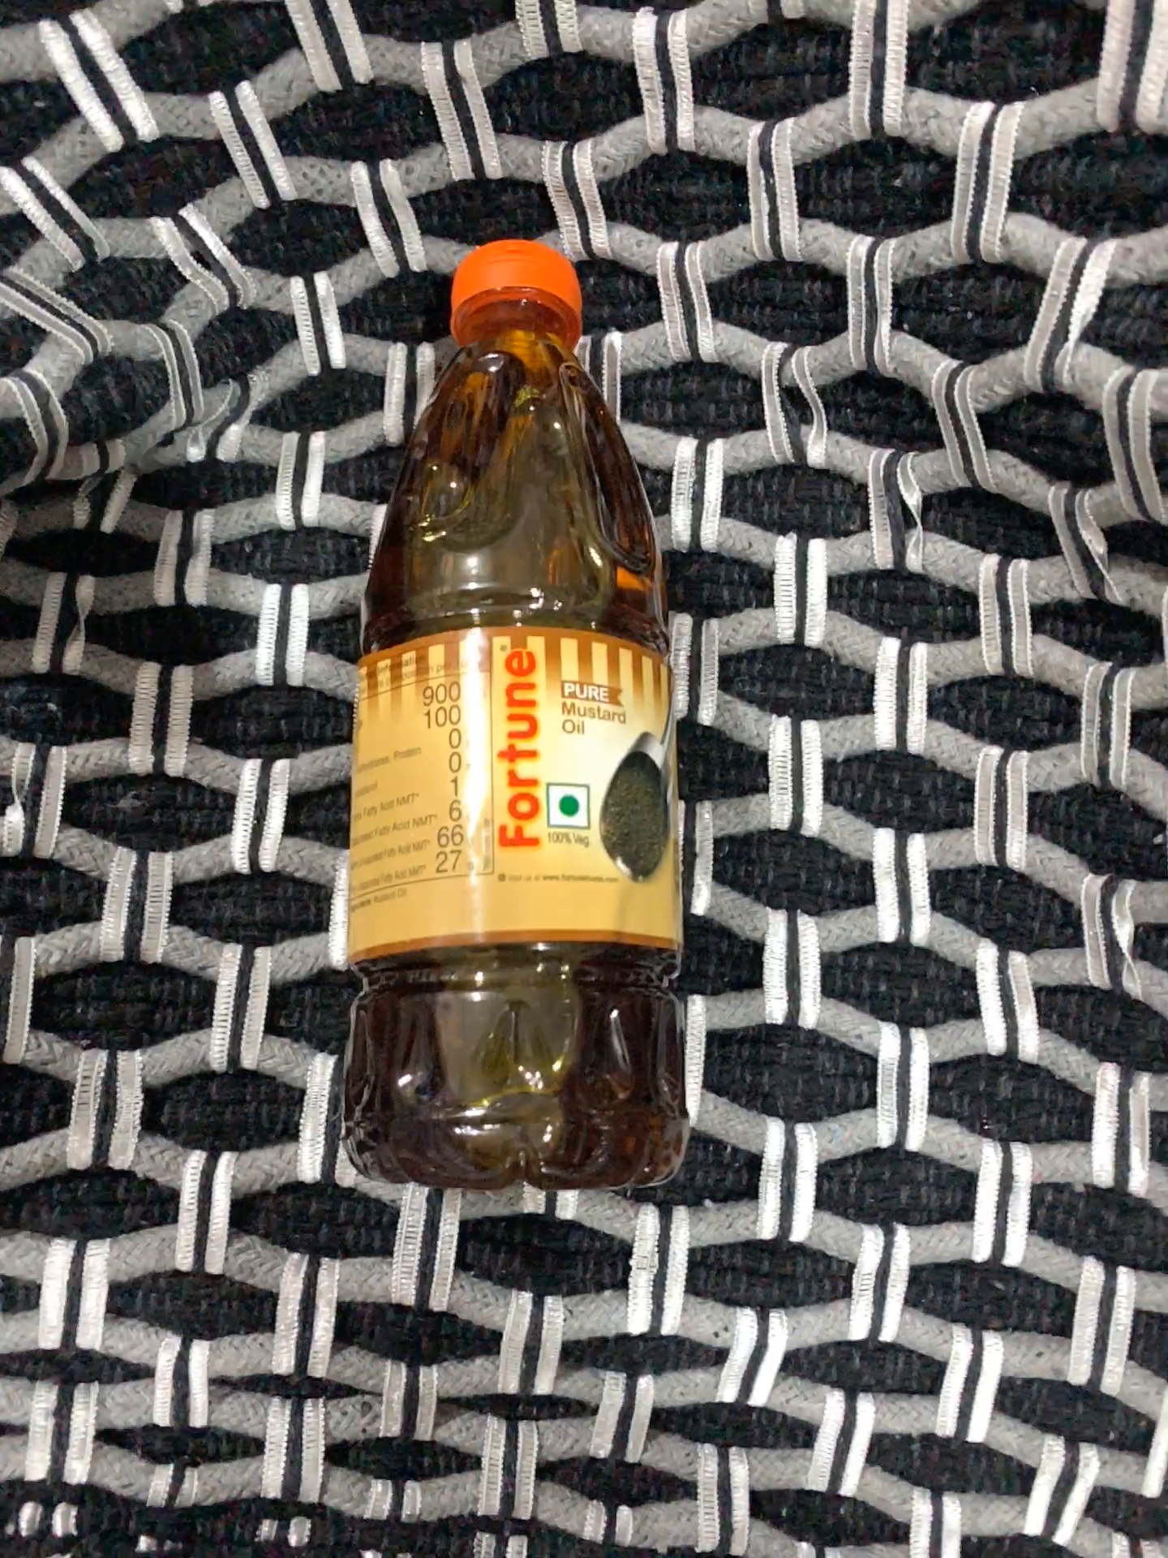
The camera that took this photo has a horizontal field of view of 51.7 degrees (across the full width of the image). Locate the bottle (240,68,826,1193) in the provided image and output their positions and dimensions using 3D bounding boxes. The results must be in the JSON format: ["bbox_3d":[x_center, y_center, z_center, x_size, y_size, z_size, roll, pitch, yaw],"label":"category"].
[{"bbox_3d":[-0.013,-0.026,0.269,0.080,0.080,0.220,-19,64,41],"label":"bottle"}]
